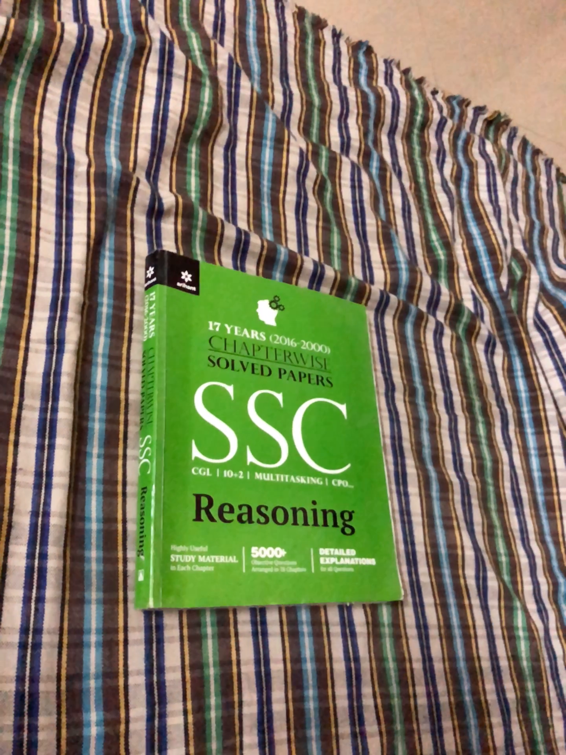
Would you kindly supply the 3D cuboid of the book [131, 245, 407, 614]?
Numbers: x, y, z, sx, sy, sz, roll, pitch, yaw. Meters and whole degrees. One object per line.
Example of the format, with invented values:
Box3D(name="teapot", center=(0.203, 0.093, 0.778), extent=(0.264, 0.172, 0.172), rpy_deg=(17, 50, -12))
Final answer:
Box3D(name="book", center=(-0.010, 0.043, 0.511), extent=(0.210, 0.040, 0.270), rpy_deg=(10, 64, -30))
